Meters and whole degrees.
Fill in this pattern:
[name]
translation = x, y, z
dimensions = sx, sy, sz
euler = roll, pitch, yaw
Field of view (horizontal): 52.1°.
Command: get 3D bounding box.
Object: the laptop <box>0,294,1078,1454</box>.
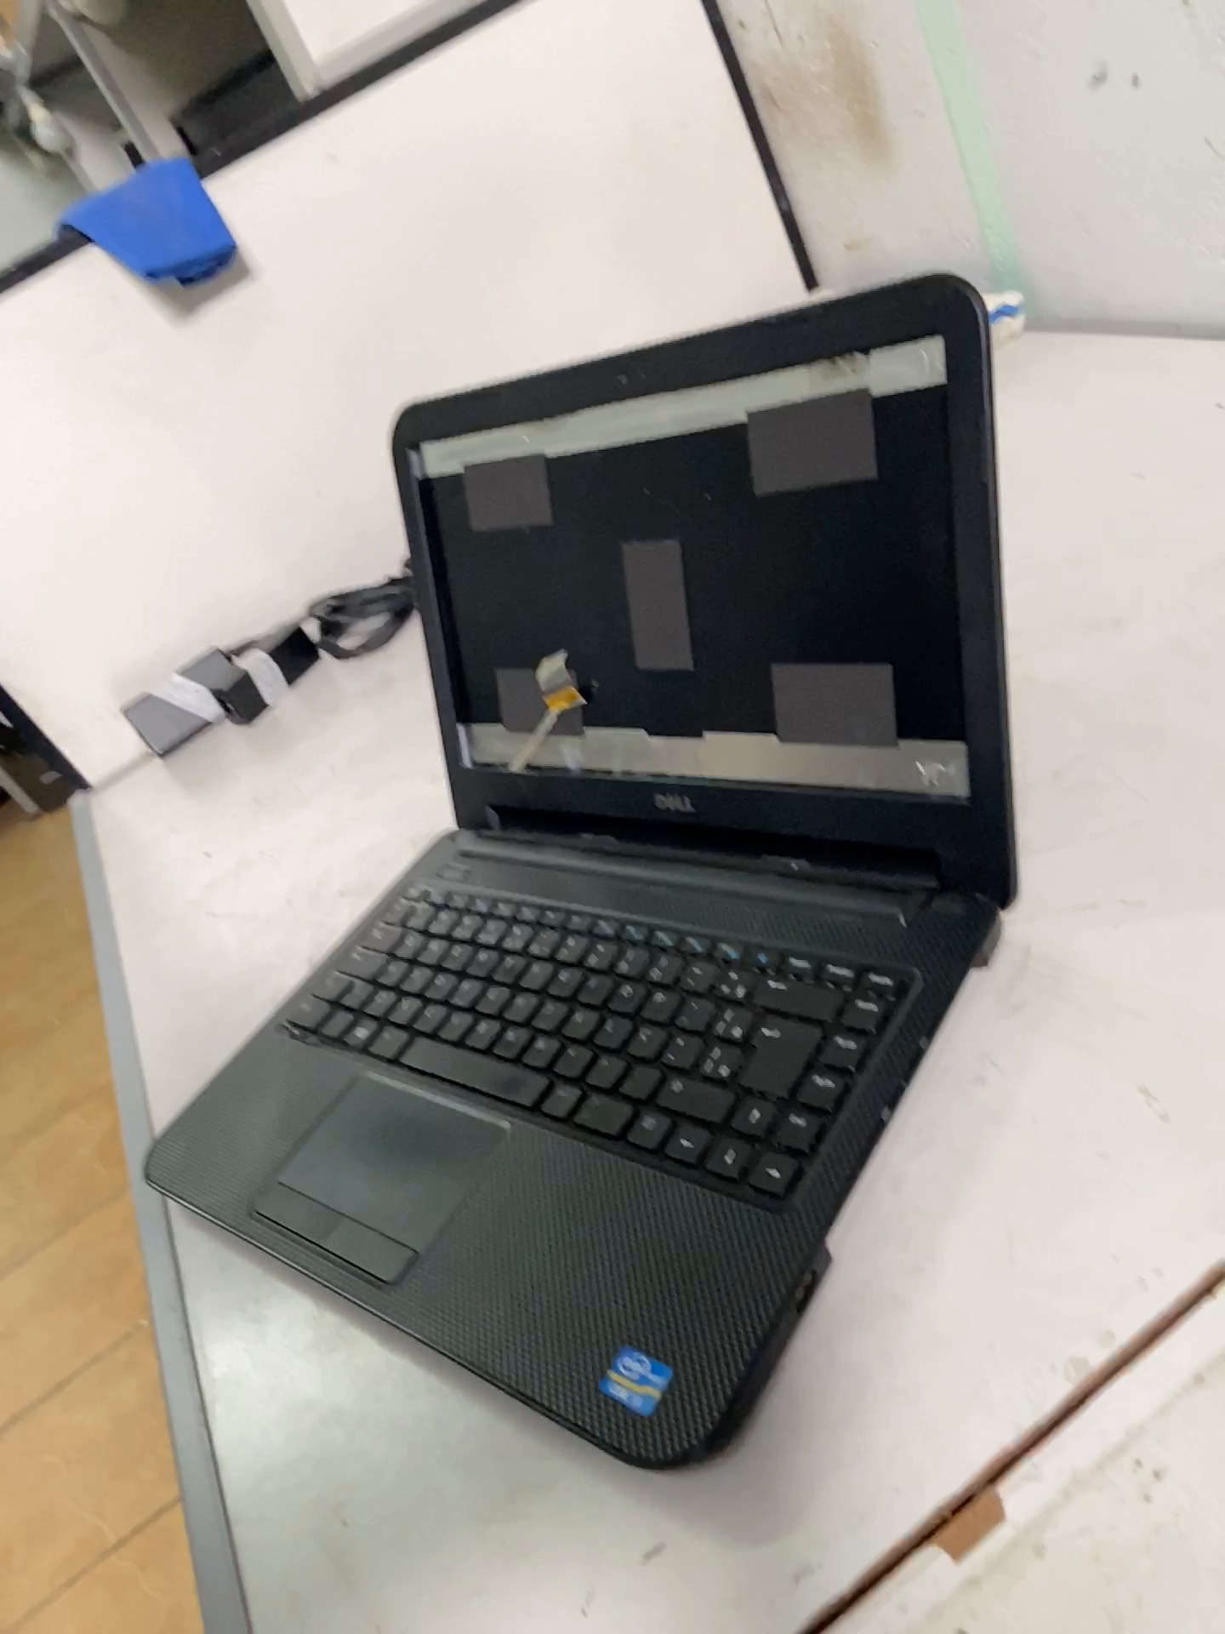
[laptop]
translation = -0.052, -0.010, 0.507
dimensions = 0.321, 0.193, 0.336
euler = 5, 45, 44
